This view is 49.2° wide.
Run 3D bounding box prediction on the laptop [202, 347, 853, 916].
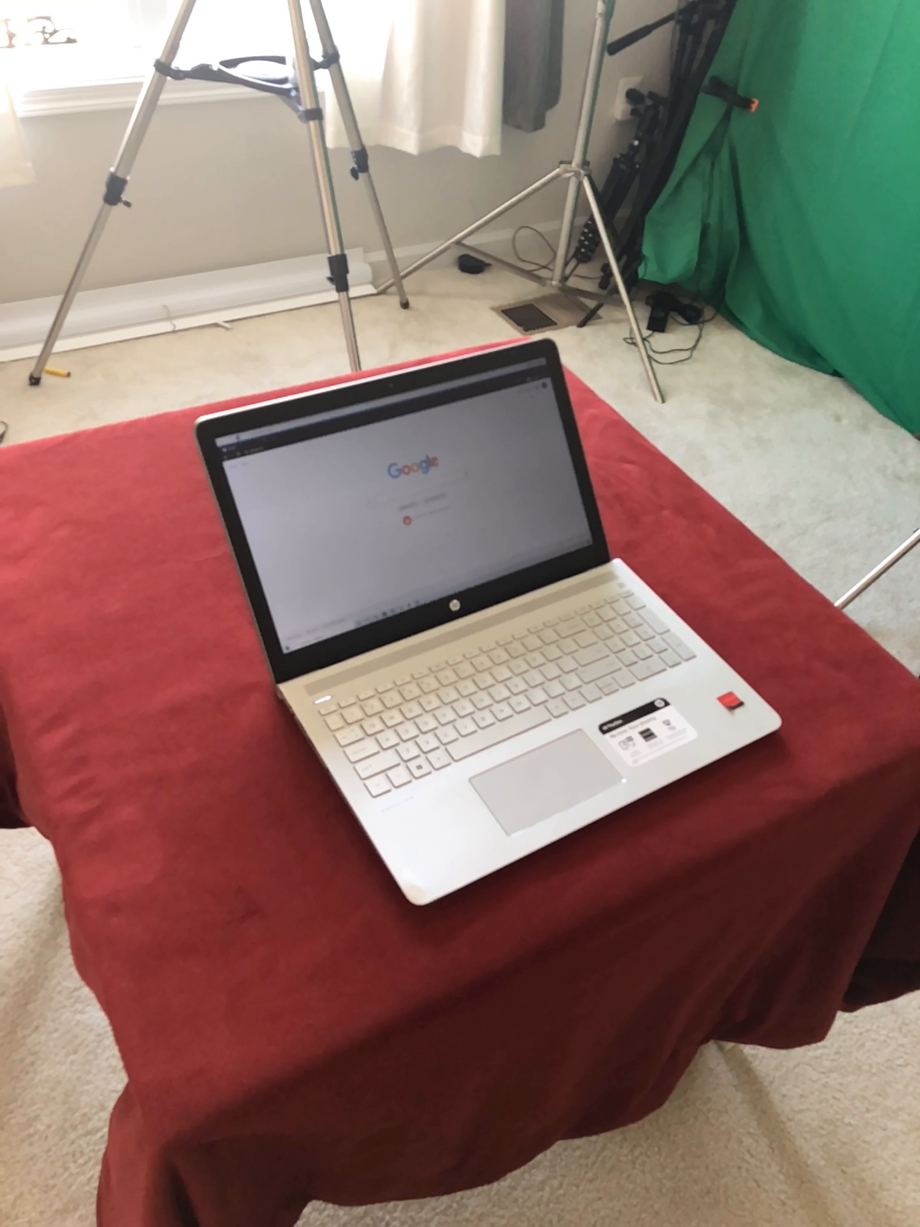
[{"bbox_3d":[0.034,-0.024,0.848,0.360,0.158,0.397,-19,50,-25],"label":"laptop"}]
